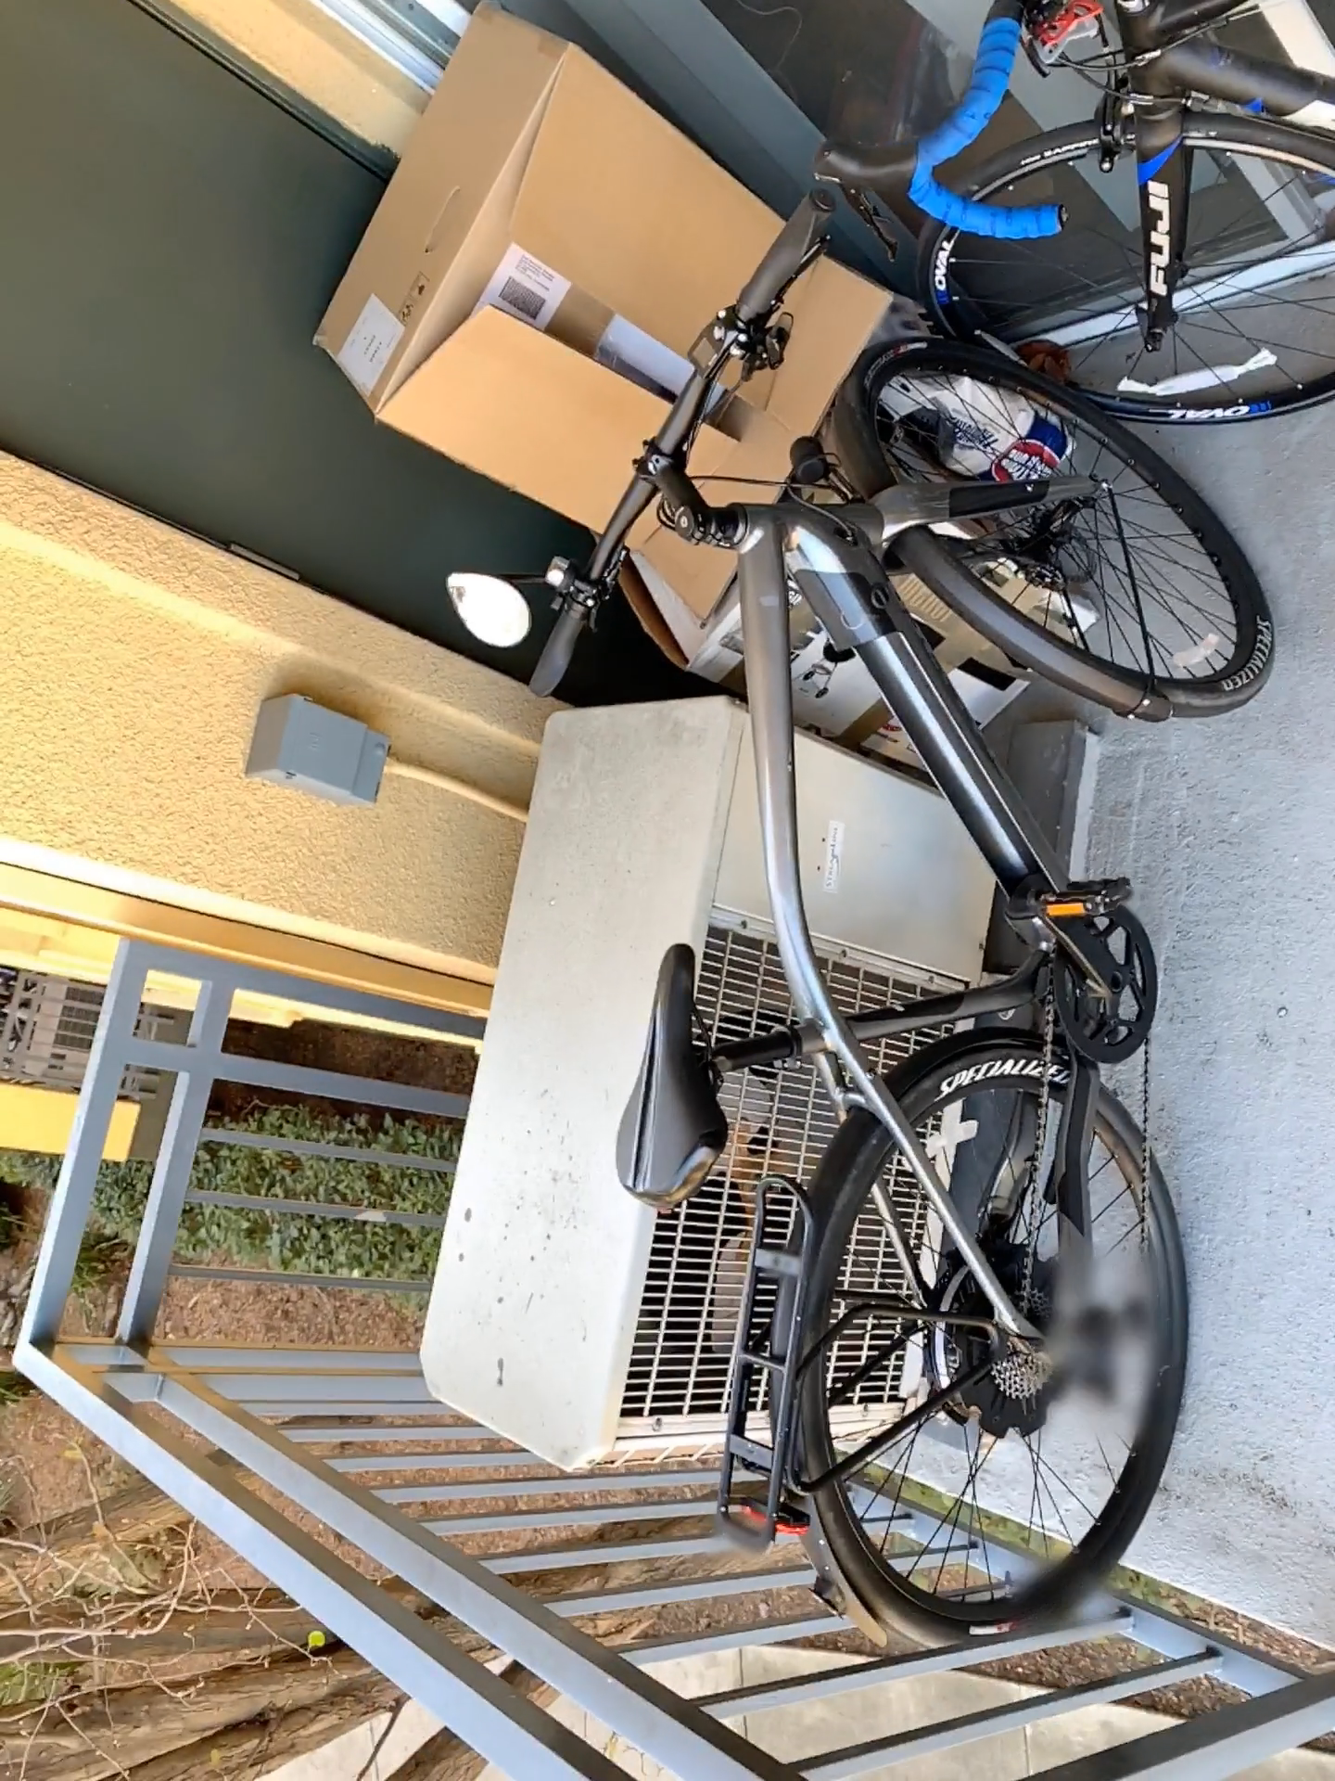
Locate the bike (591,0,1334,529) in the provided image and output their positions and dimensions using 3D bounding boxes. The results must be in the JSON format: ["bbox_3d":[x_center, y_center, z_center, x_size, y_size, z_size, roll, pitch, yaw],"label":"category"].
[{"bbox_3d":[0.839,-0.734,1.250,1.513,0.930,0.362,10,83,44],"label":"bike"}]

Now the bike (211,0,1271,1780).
[{"bbox_3d":[0.194,-0.004,1.659,0.626,0.969,1.582,-10,67,45],"label":"bike"}]
